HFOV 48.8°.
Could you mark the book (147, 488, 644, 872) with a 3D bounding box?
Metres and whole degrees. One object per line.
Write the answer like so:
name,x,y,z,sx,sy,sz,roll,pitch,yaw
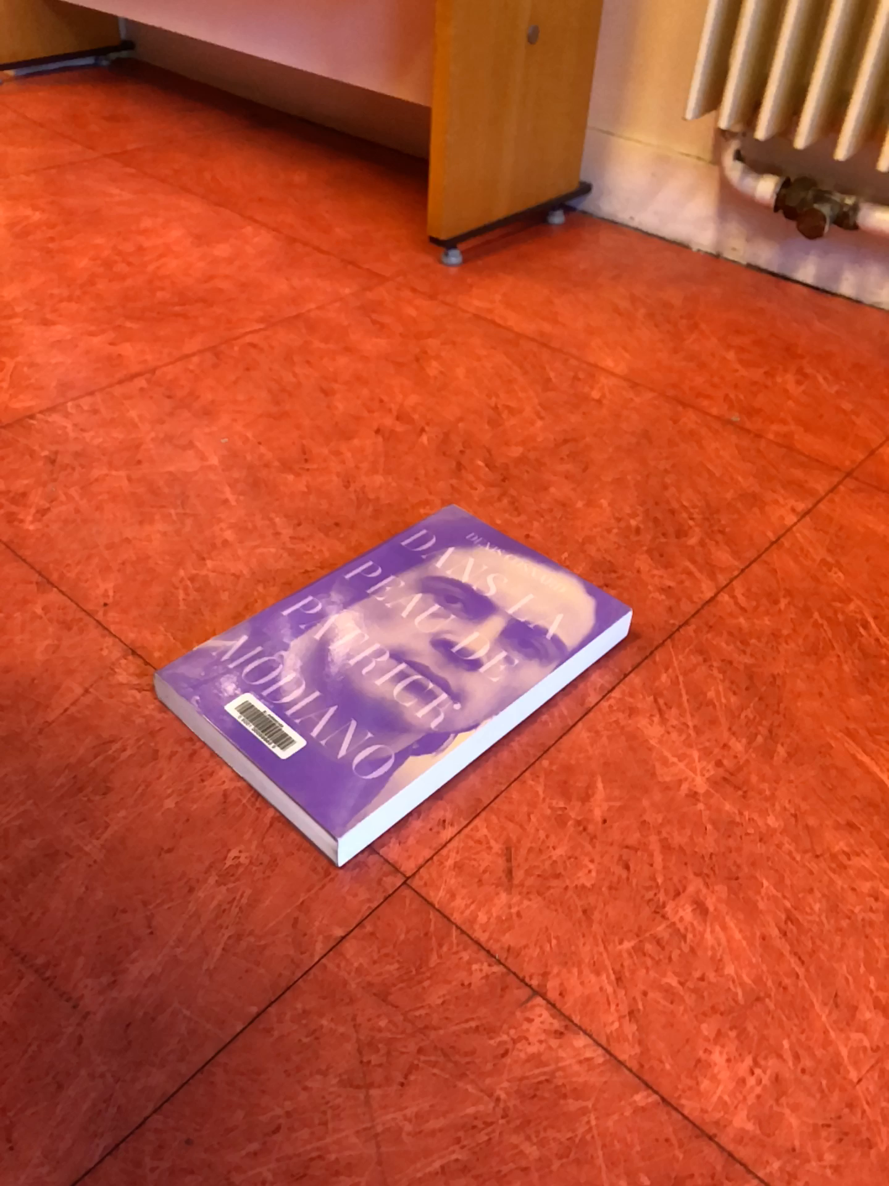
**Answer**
book,-0.020,0.030,0.546,0.150,0.030,0.234,34,49,30
